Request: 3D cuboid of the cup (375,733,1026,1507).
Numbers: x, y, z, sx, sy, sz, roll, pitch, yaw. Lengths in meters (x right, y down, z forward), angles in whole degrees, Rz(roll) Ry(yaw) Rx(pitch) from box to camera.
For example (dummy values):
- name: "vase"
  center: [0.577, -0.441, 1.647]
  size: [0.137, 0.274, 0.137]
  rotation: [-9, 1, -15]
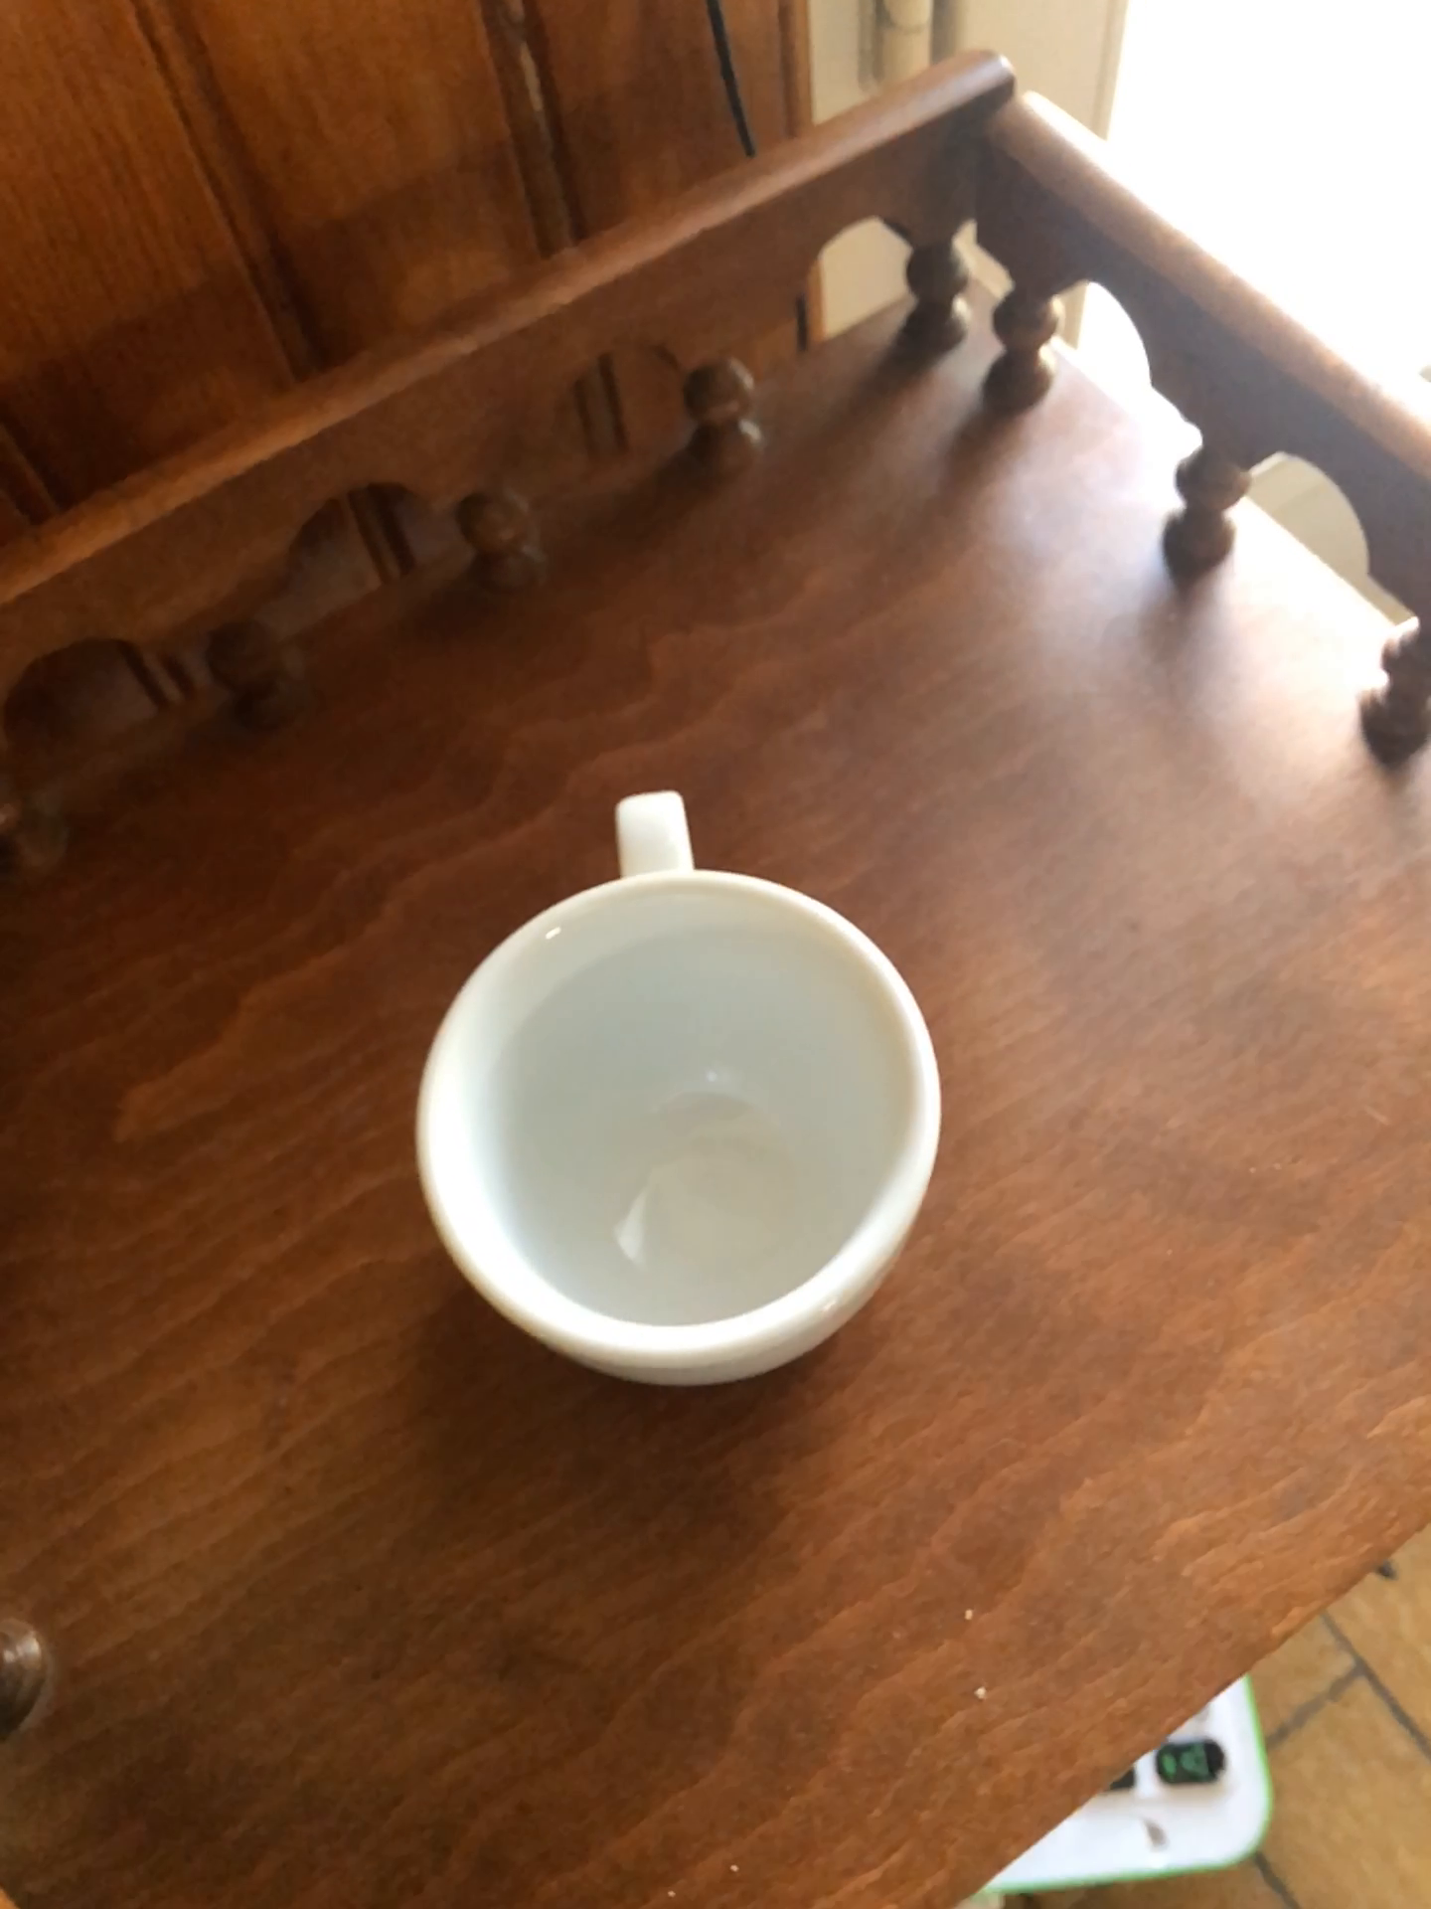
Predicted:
- name: "cup"
  center: [-0.005, 0.028, 0.282]
  size: [0.090, 0.050, 0.110]
  rotation: [-11, 62, 0]
